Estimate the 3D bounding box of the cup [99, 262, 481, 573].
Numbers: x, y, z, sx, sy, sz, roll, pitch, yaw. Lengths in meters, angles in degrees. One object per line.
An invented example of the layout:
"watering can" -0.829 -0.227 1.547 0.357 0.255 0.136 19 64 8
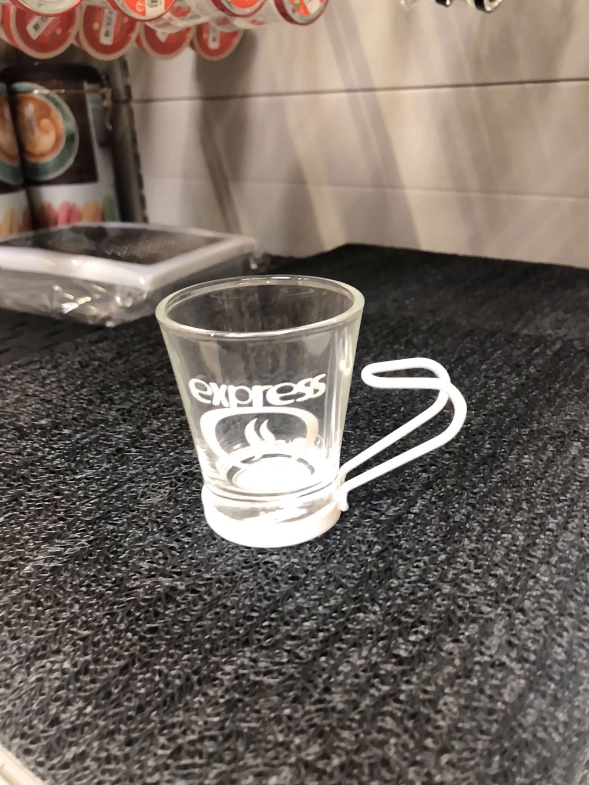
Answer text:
"cup" -0.002 0.004 0.198 0.092 0.063 0.060 -6 28 -6
